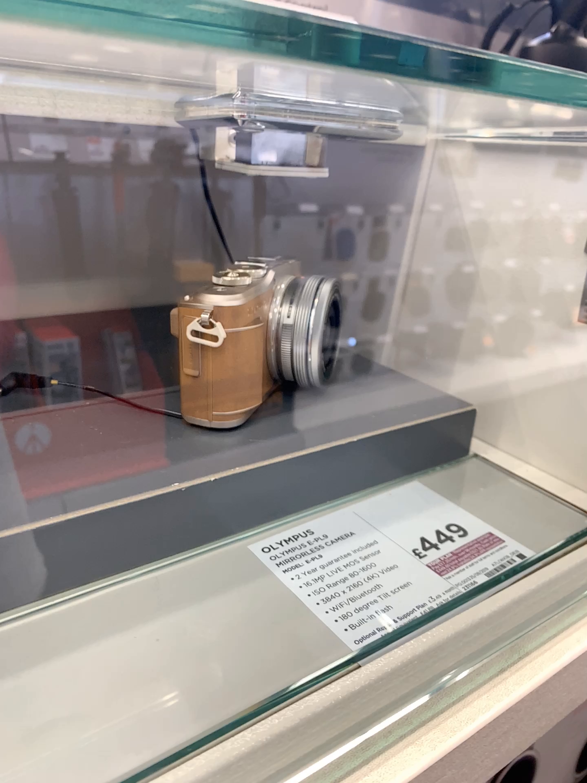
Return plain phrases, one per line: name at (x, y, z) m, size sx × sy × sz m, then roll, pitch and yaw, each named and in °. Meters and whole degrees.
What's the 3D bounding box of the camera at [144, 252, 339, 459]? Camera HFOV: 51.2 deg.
camera at (-0.020, -0.027, 0.319) m, size 0.060 × 0.069 × 0.121 m, roll 8°, pitch 21°, yaw 13°
